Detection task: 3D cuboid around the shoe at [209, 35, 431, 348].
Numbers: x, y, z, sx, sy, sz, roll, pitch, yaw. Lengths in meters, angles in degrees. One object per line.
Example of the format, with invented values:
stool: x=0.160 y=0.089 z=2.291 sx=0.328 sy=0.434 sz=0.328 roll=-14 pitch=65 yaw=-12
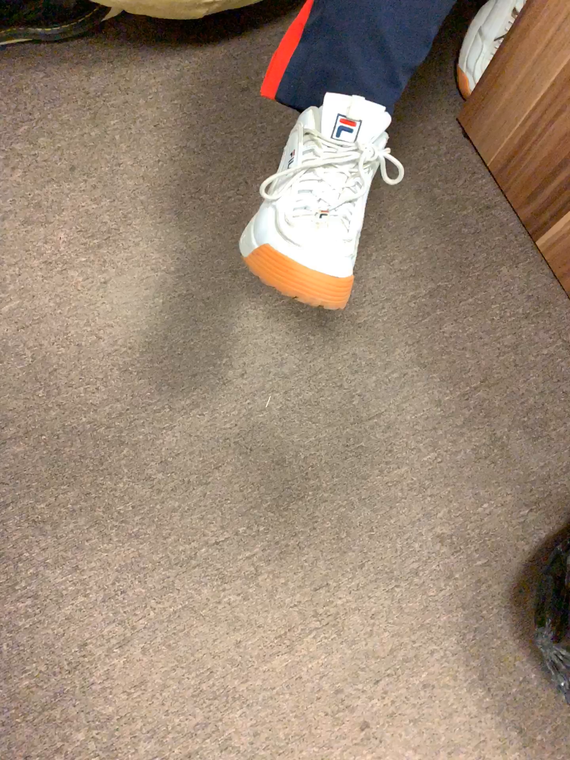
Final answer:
shoe: x=0.036 y=-0.173 z=0.520 sx=0.130 sy=0.130 sz=0.230 roll=19 pitch=49 yaw=-11
